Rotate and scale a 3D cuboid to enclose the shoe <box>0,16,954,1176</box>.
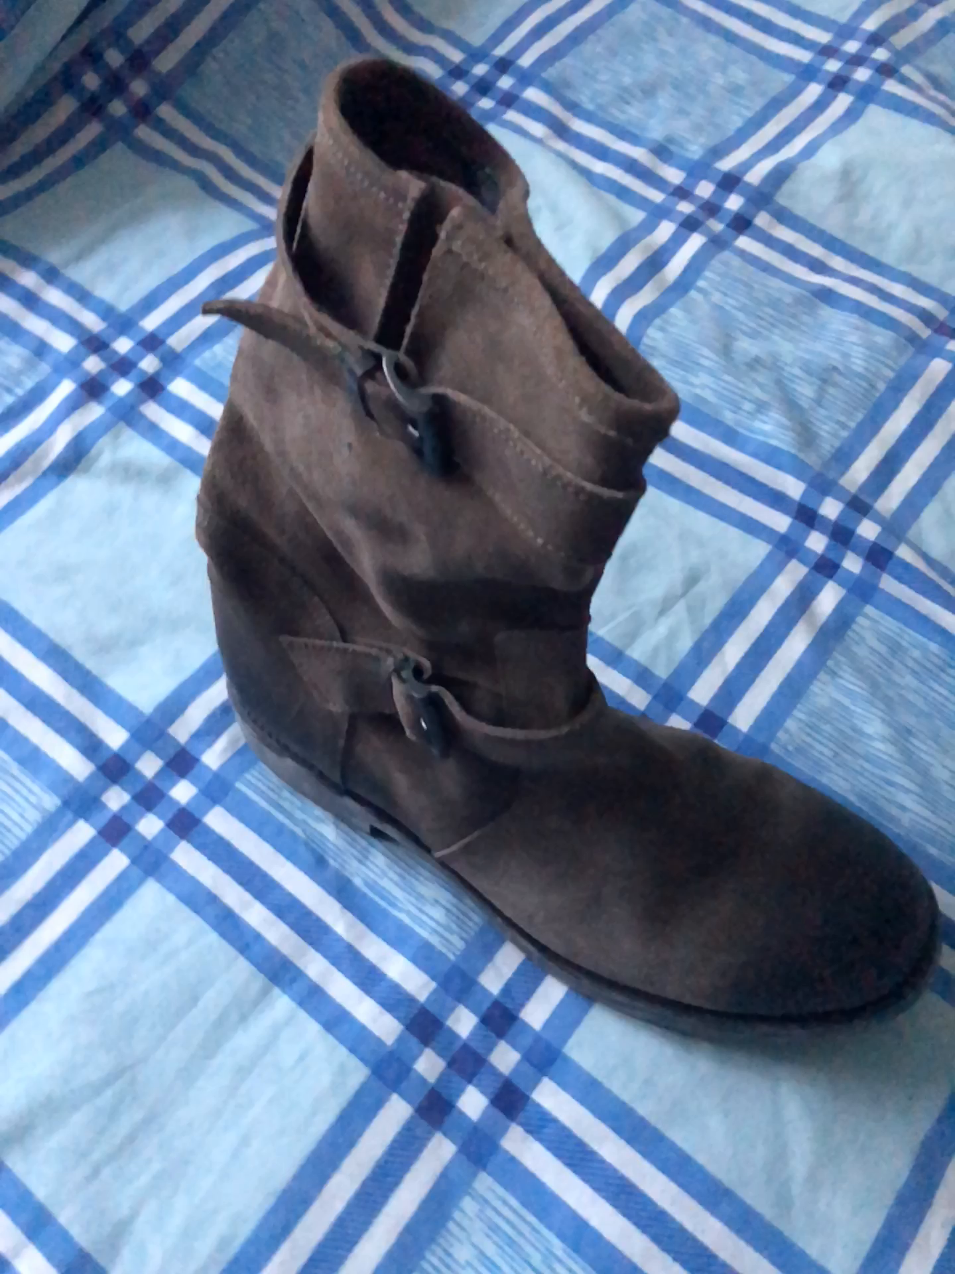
[{"bbox_3d":[0.044,0.017,0.355,0.320,0.289,0.130,27,63,14],"label":"shoe"}]
